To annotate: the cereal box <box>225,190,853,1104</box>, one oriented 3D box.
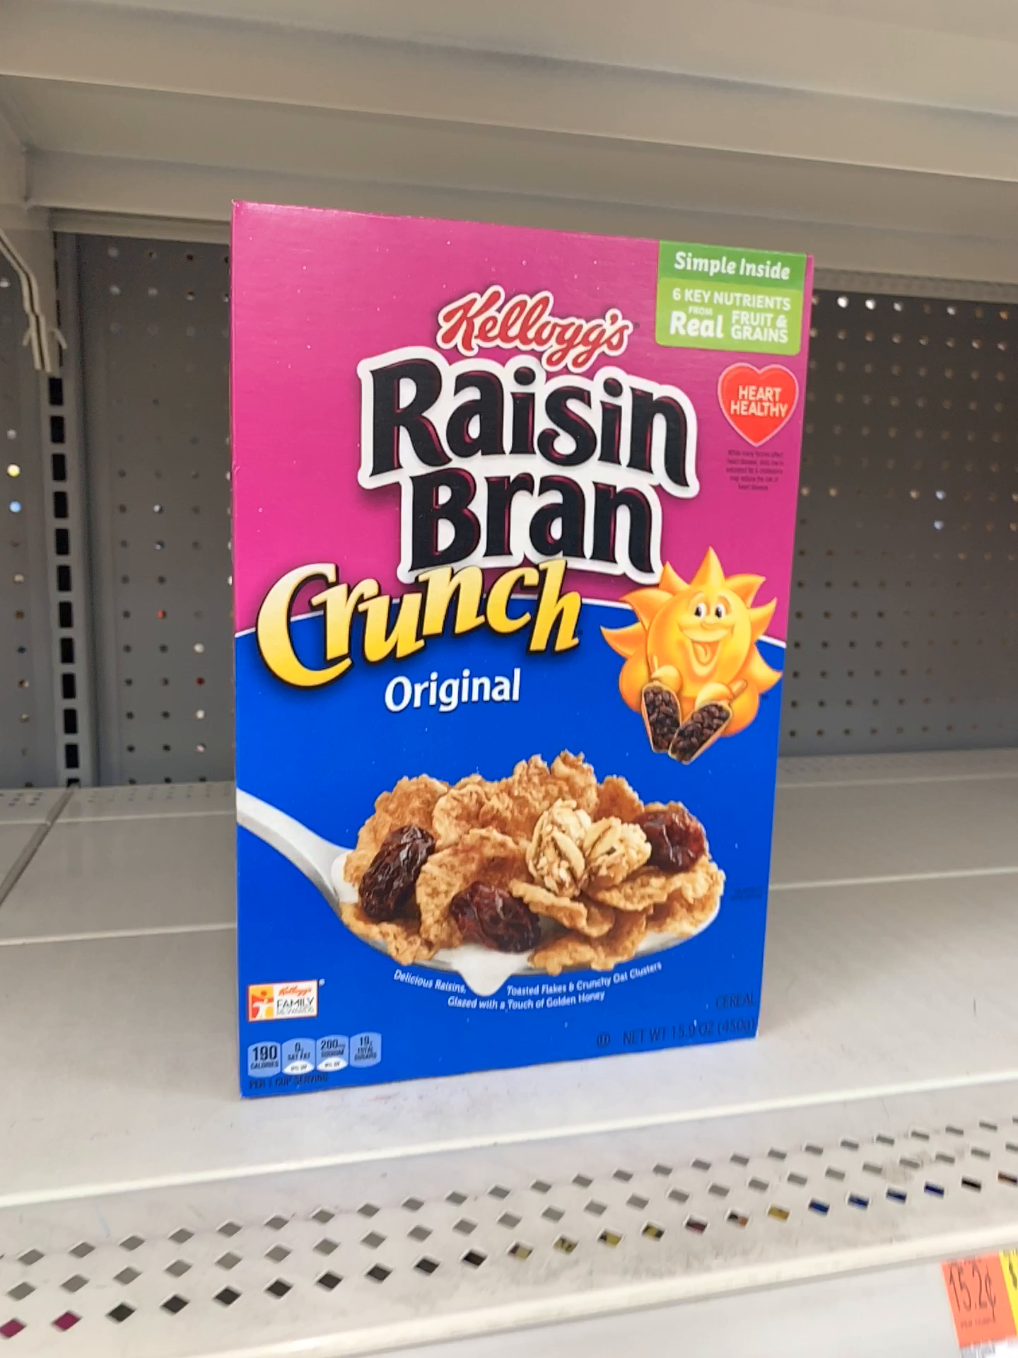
[{"bbox_3d":[0.008,-0.007,0.368,0.200,0.279,0.050,-1,8,-14],"label":"cereal box"}]
